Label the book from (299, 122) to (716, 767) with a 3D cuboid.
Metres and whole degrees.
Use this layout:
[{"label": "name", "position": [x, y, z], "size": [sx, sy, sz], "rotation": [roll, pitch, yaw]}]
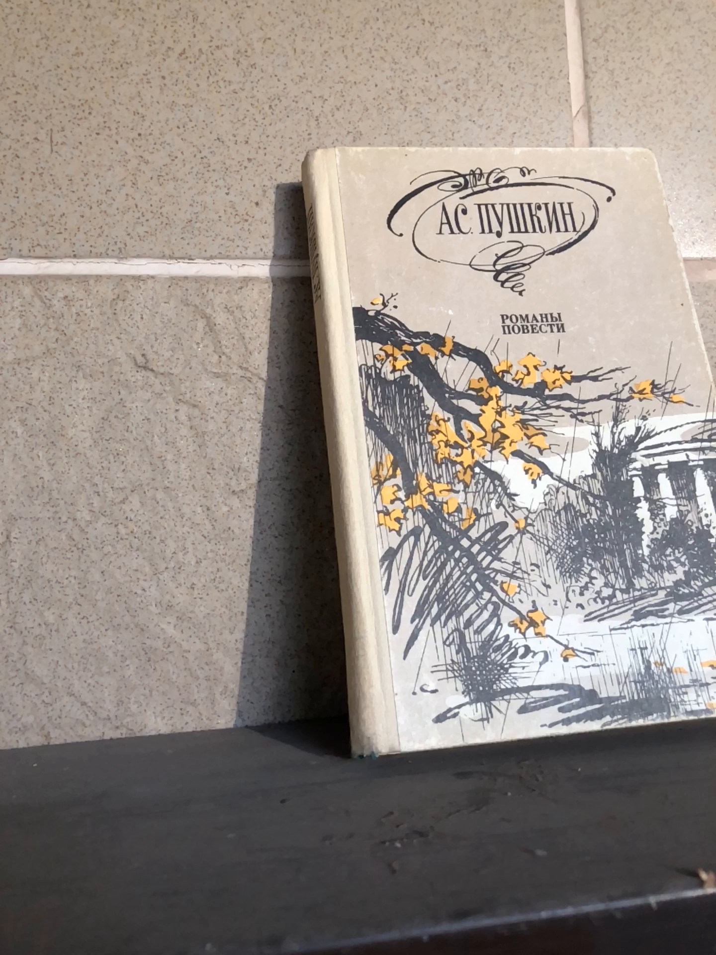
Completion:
[{"label": "book", "position": [0.053, -0.021, 0.253], "size": [0.130, 0.199, 0.020], "rotation": [-3, -14, -8]}]
